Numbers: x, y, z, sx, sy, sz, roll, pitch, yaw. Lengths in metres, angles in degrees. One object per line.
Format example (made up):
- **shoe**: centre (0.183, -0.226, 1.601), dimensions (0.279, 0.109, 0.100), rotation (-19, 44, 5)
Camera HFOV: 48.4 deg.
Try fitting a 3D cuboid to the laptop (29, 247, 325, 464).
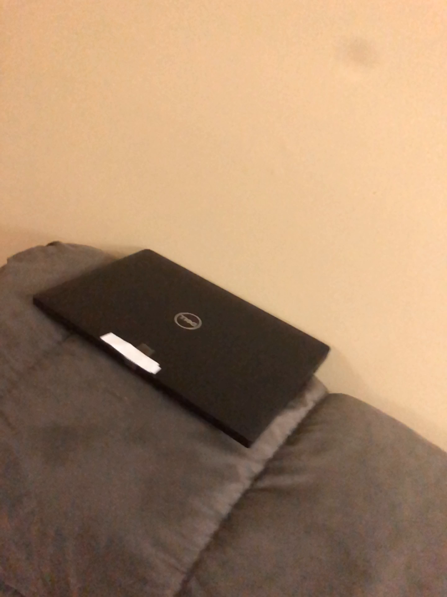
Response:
- **laptop**: centre (-0.057, 0.043, 0.645), dimensions (0.326, 0.030, 0.215), rotation (29, 34, 23)
